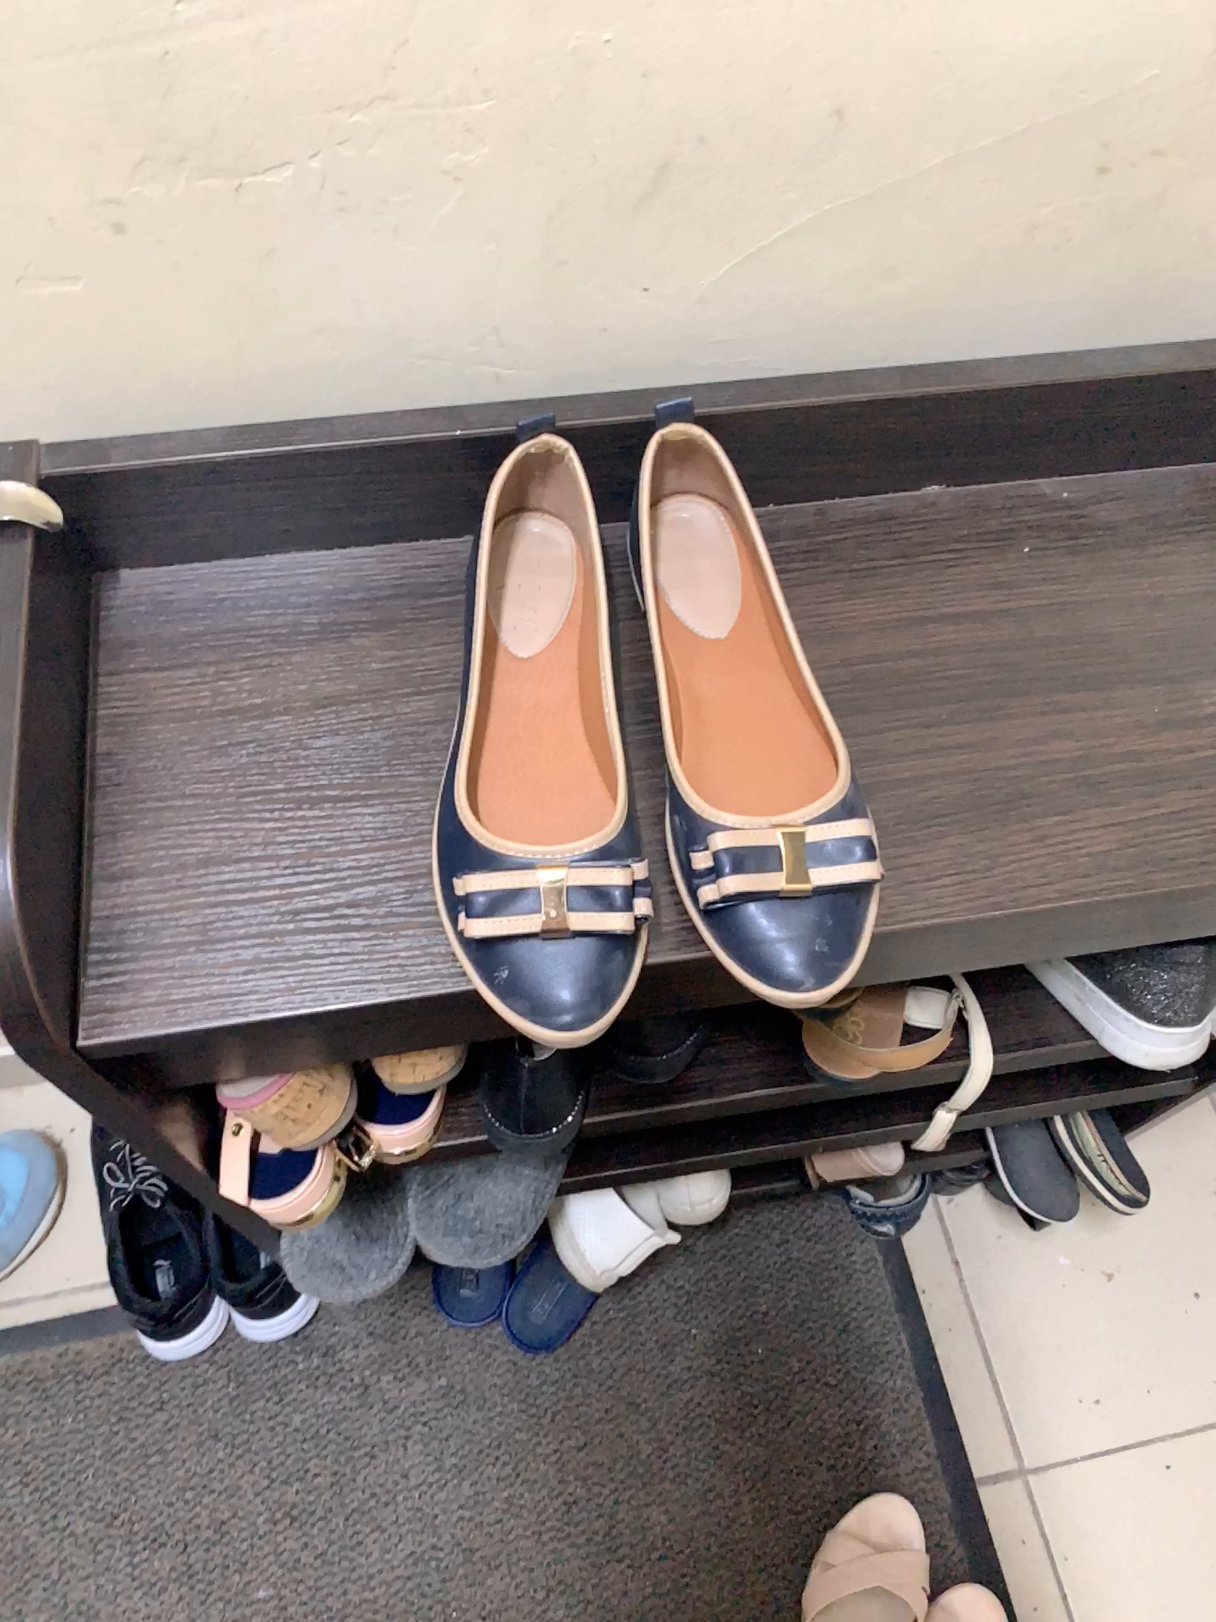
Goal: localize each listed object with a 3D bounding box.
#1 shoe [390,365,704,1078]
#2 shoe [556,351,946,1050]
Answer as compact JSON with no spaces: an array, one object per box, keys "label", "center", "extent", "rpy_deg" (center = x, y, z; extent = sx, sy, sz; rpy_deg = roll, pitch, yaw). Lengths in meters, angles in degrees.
[{"label":"shoe","center":[-0.029,-0.045,0.523],"extent":[0.100,0.100,0.281],"rpy_deg":[-7,61,0]},{"label":"shoe","center":[0.049,-0.055,0.535],"extent":[0.100,0.100,0.281],"rpy_deg":[-9,61,-1]}]
